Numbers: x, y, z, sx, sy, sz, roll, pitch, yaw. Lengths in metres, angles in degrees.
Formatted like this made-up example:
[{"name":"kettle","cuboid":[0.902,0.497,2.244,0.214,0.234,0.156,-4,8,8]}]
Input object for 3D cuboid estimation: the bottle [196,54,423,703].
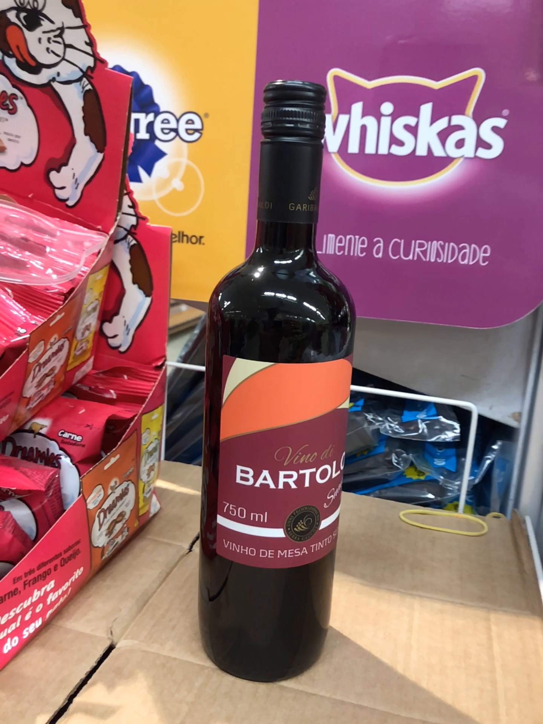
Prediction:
[{"name":"bottle","cuboid":[0.010,0.017,0.309,0.080,0.298,0.060,-3,15,-22]}]
